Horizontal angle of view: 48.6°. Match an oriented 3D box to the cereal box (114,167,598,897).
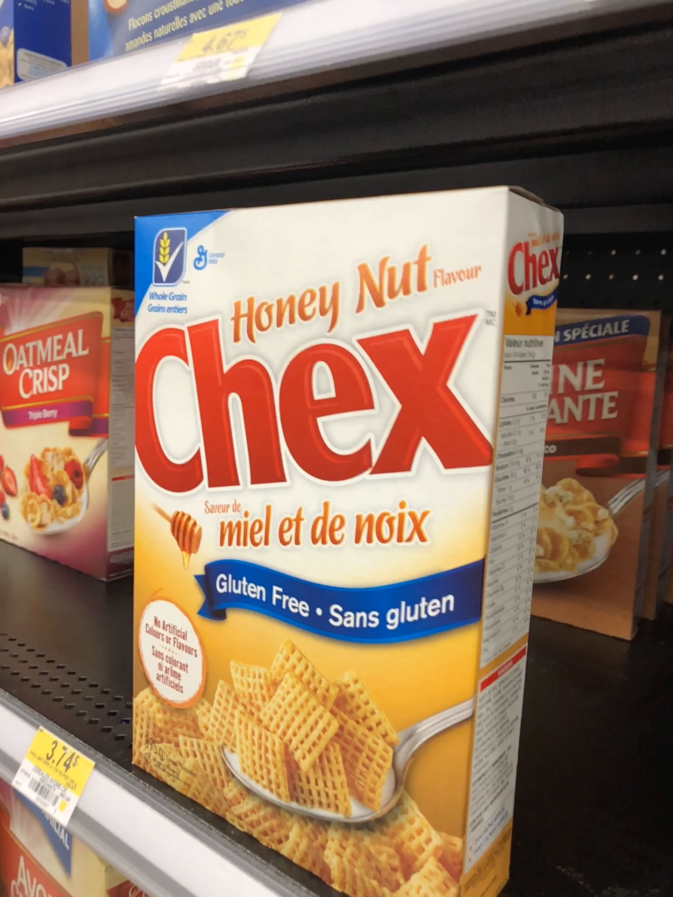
[{"bbox_3d":[-0.012,0.035,0.330,0.210,0.279,0.050,9,10,37],"label":"cereal box"}]
